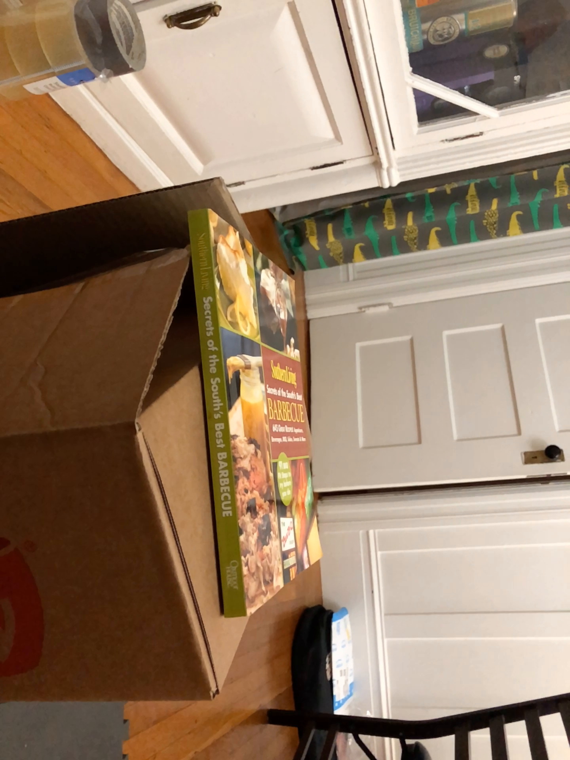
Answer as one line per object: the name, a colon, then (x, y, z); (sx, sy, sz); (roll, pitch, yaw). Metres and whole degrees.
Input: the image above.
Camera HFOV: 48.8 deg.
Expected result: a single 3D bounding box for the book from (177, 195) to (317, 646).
book: (-0.021, 0.031, 0.511); (0.221, 0.020, 0.290); (19, 65, -73)
